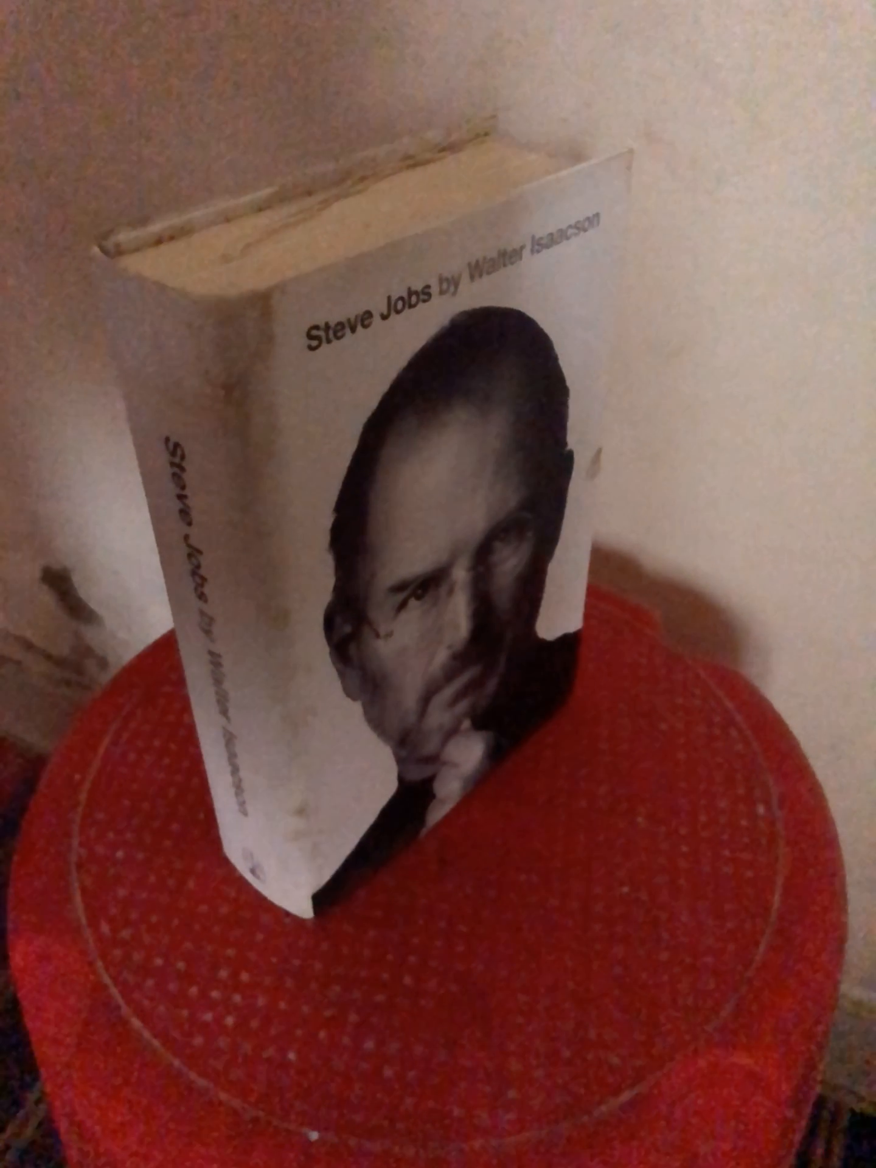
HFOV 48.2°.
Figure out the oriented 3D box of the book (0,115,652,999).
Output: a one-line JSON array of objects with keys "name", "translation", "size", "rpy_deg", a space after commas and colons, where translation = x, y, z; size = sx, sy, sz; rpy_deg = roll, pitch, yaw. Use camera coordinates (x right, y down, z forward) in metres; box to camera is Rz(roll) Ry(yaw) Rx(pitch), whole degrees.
[{"name": "book", "translation": [-0.017, -0.007, 0.315], "size": [0.060, 0.229, 0.170], "rpy_deg": [29, 46, 32]}]
